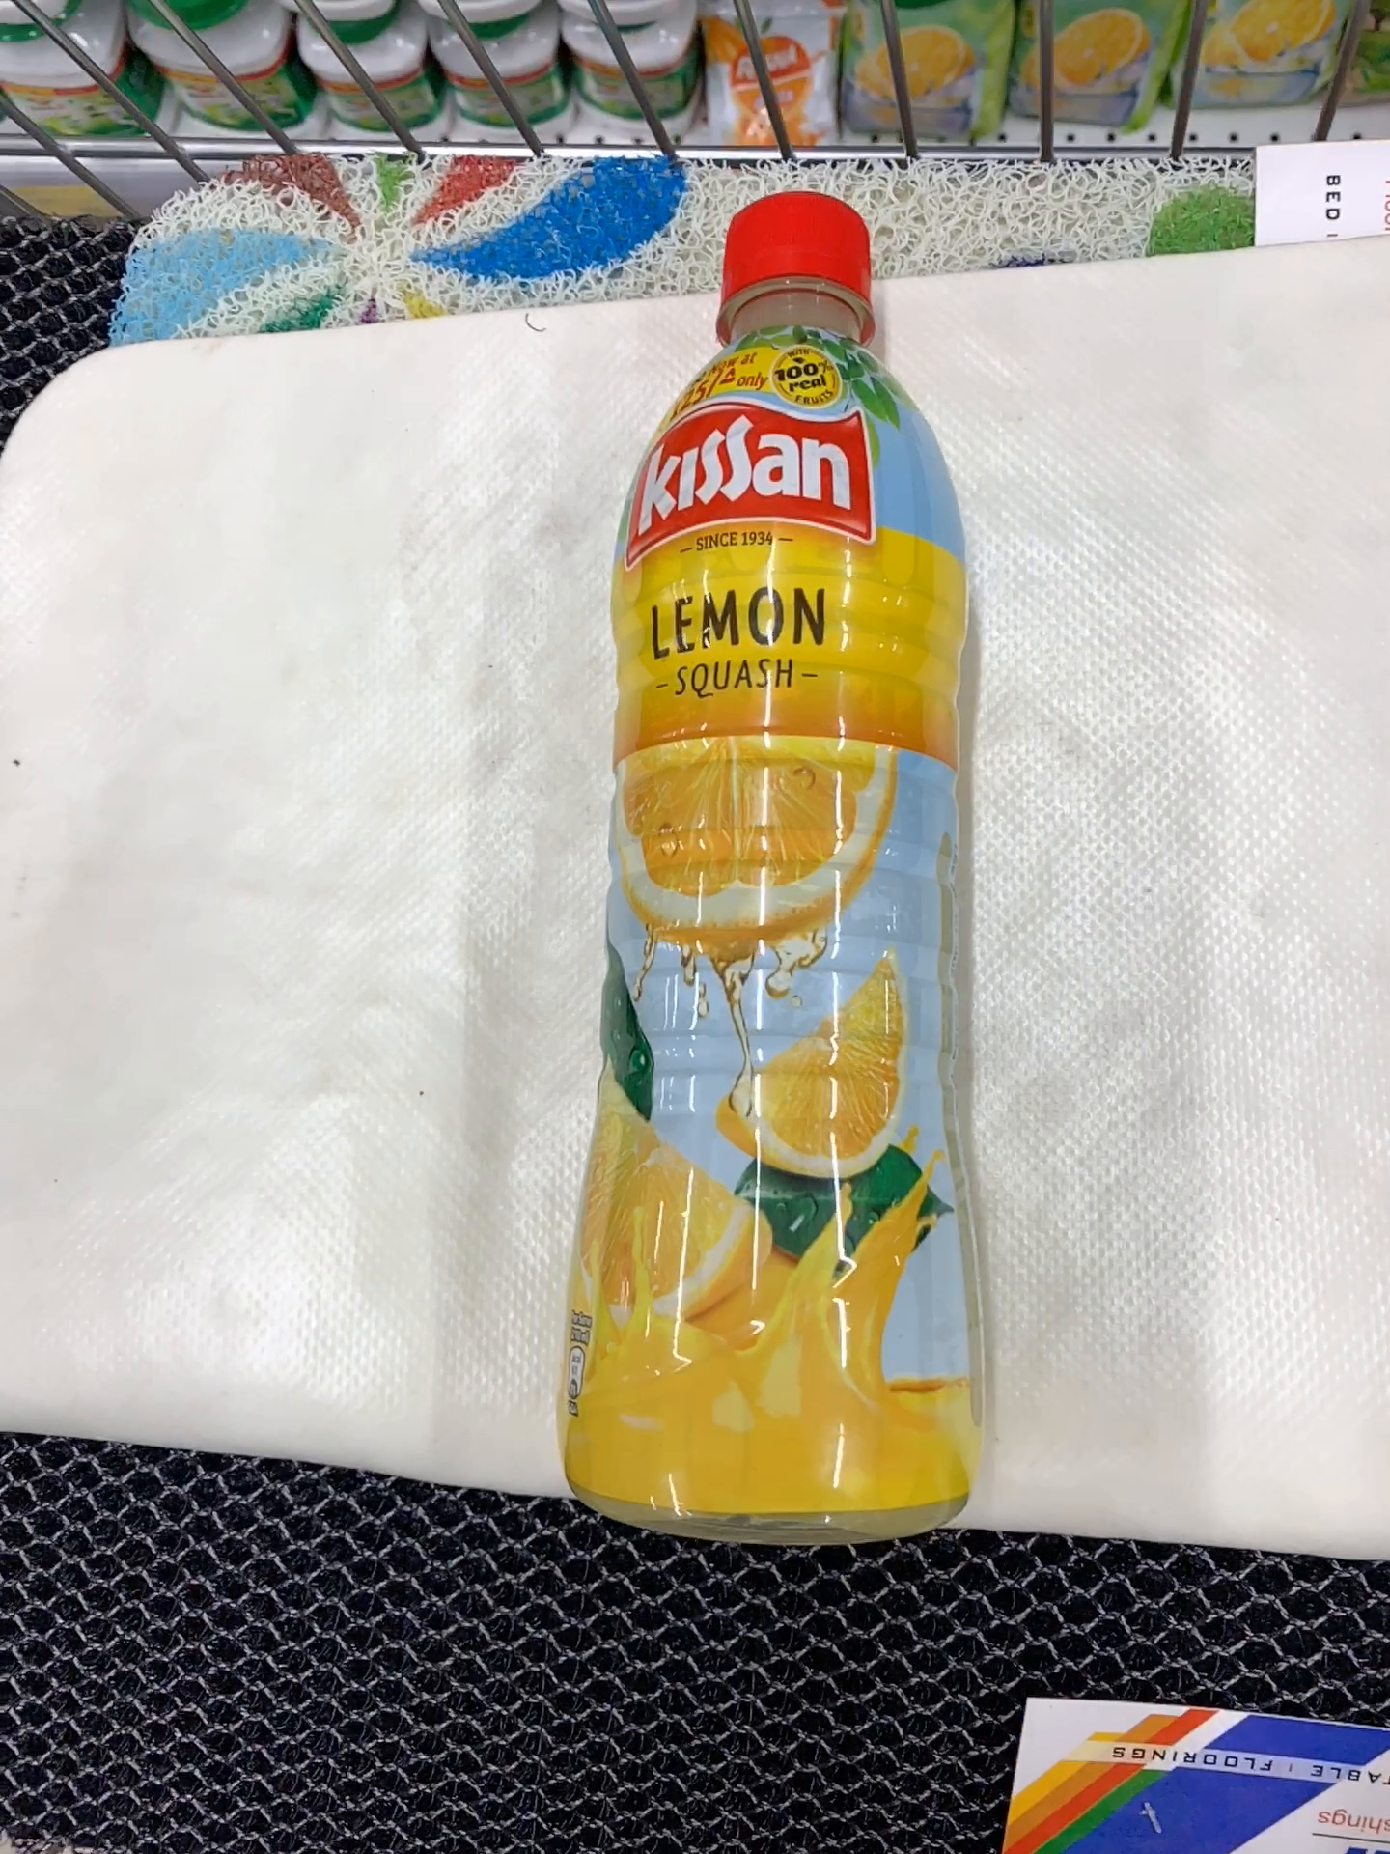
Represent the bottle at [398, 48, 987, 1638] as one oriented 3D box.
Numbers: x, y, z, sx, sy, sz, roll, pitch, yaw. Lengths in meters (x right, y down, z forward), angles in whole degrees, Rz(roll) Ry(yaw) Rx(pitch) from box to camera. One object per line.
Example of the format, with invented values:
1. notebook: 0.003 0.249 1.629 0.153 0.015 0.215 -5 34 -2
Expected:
1. bottle: 0.004 -0.016 0.243 0.080 0.070 0.230 1 84 4
